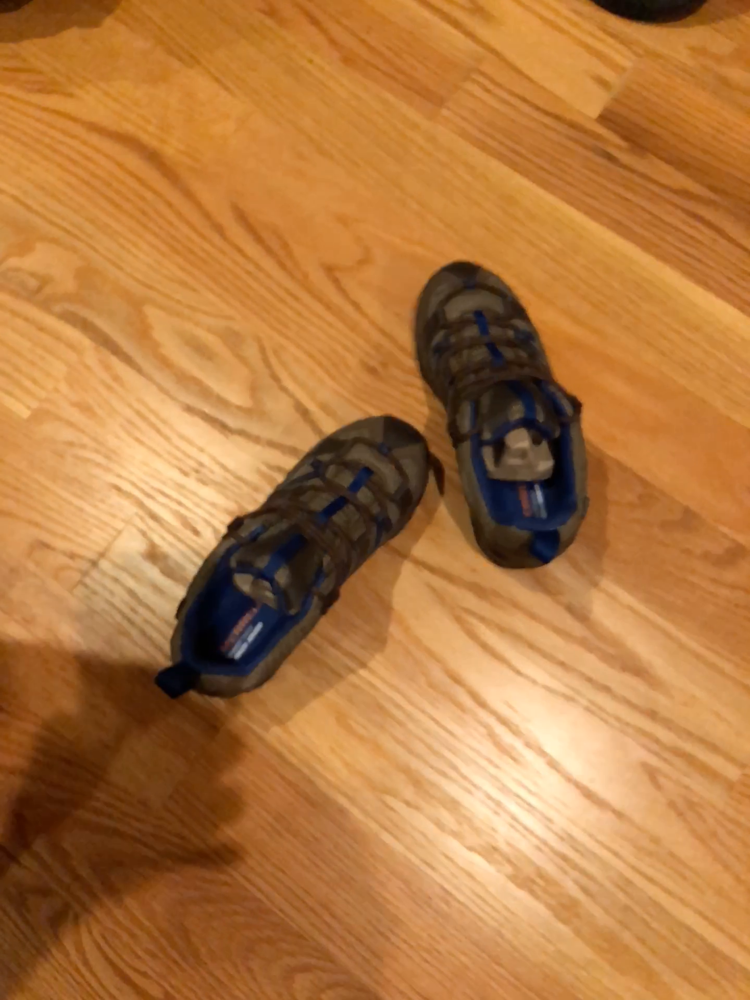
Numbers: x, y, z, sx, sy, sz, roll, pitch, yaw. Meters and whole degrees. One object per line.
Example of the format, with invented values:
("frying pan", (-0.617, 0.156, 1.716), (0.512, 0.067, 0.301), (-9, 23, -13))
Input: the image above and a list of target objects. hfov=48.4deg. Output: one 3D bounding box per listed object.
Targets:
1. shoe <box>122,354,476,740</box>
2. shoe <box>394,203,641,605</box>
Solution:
("shoe", (-0.044, 0.035, 0.579), (0.094, 0.106, 0.240), (37, 79, 9))
("shoe", (0.090, -0.064, 0.592), (0.097, 0.094, 0.252), (-13, 76, -2))
